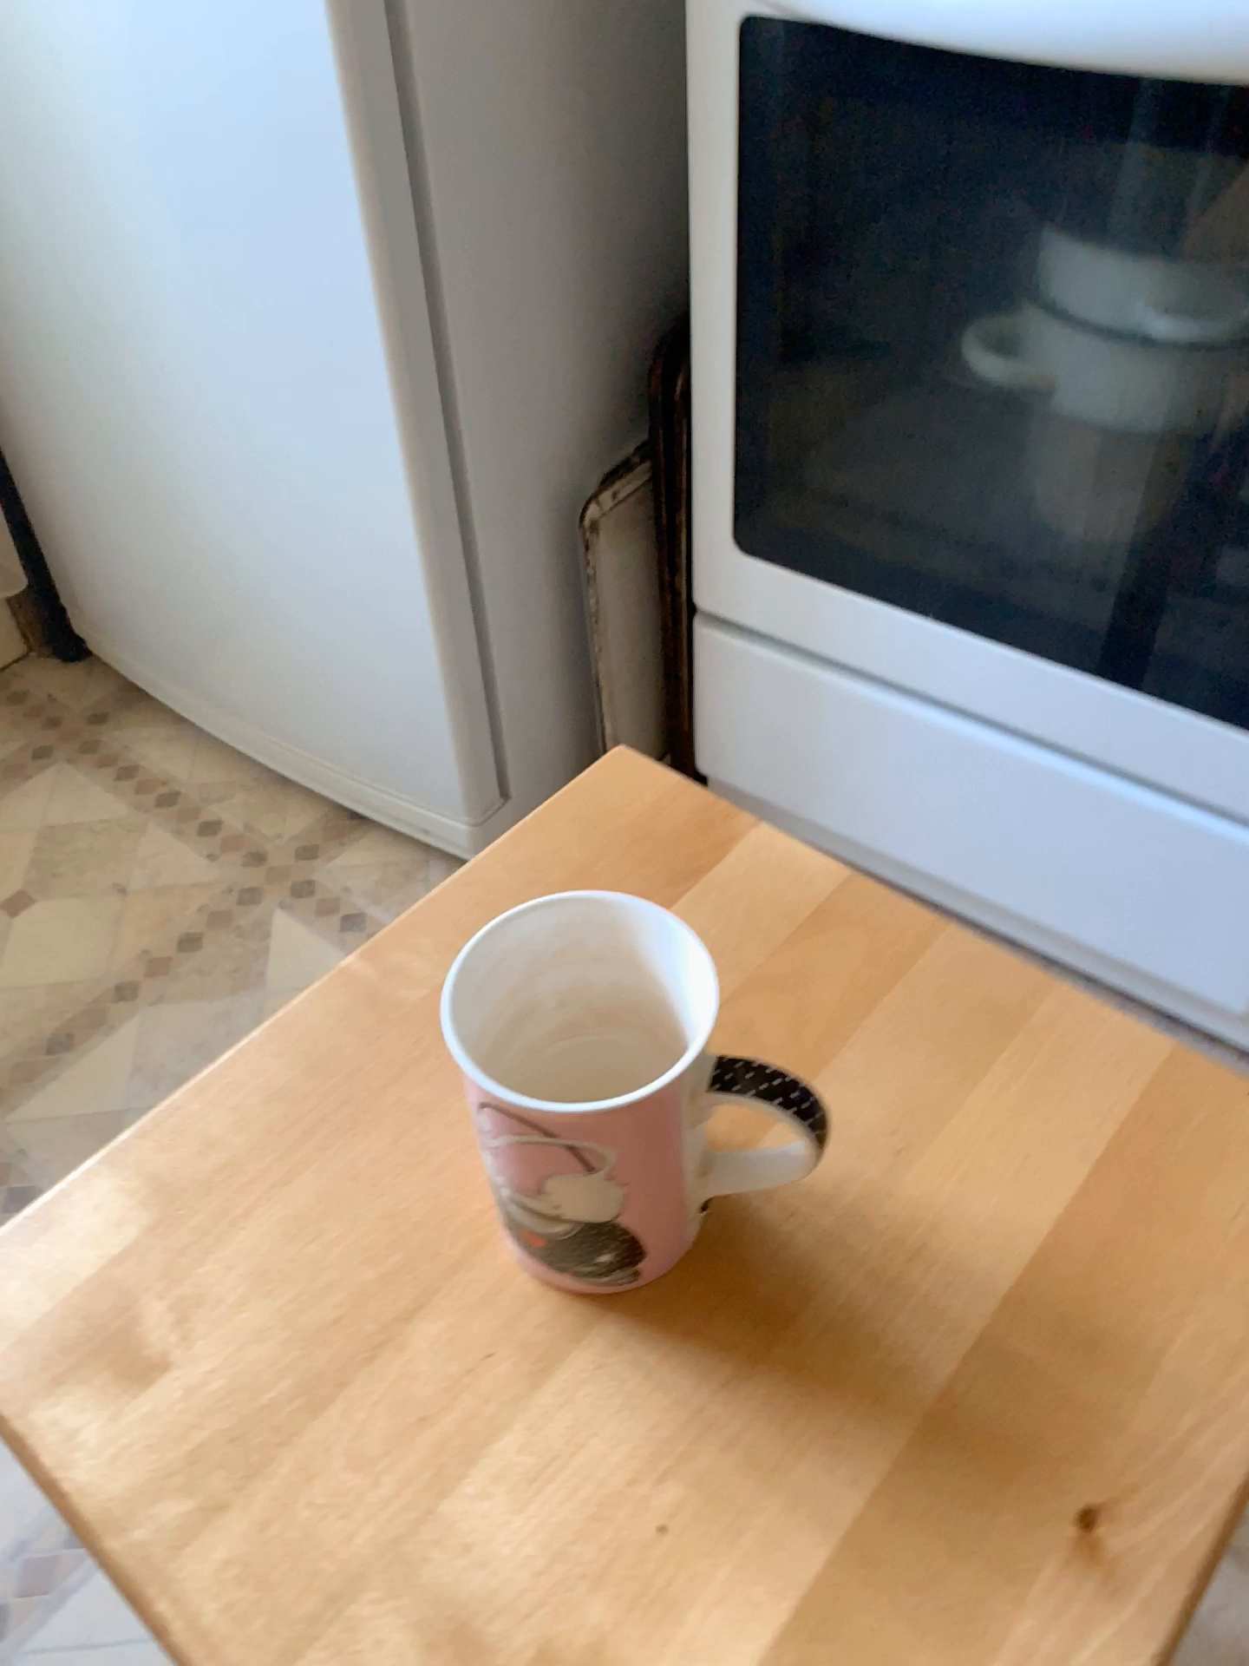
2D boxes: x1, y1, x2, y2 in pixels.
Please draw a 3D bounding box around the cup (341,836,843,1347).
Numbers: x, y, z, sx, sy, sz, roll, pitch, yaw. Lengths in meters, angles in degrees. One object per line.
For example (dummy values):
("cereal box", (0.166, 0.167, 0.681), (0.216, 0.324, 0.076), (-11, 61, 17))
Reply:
("cup", (-0.004, 0.074, 0.369), (0.113, 0.107, 0.075), (10, 45, 14))
